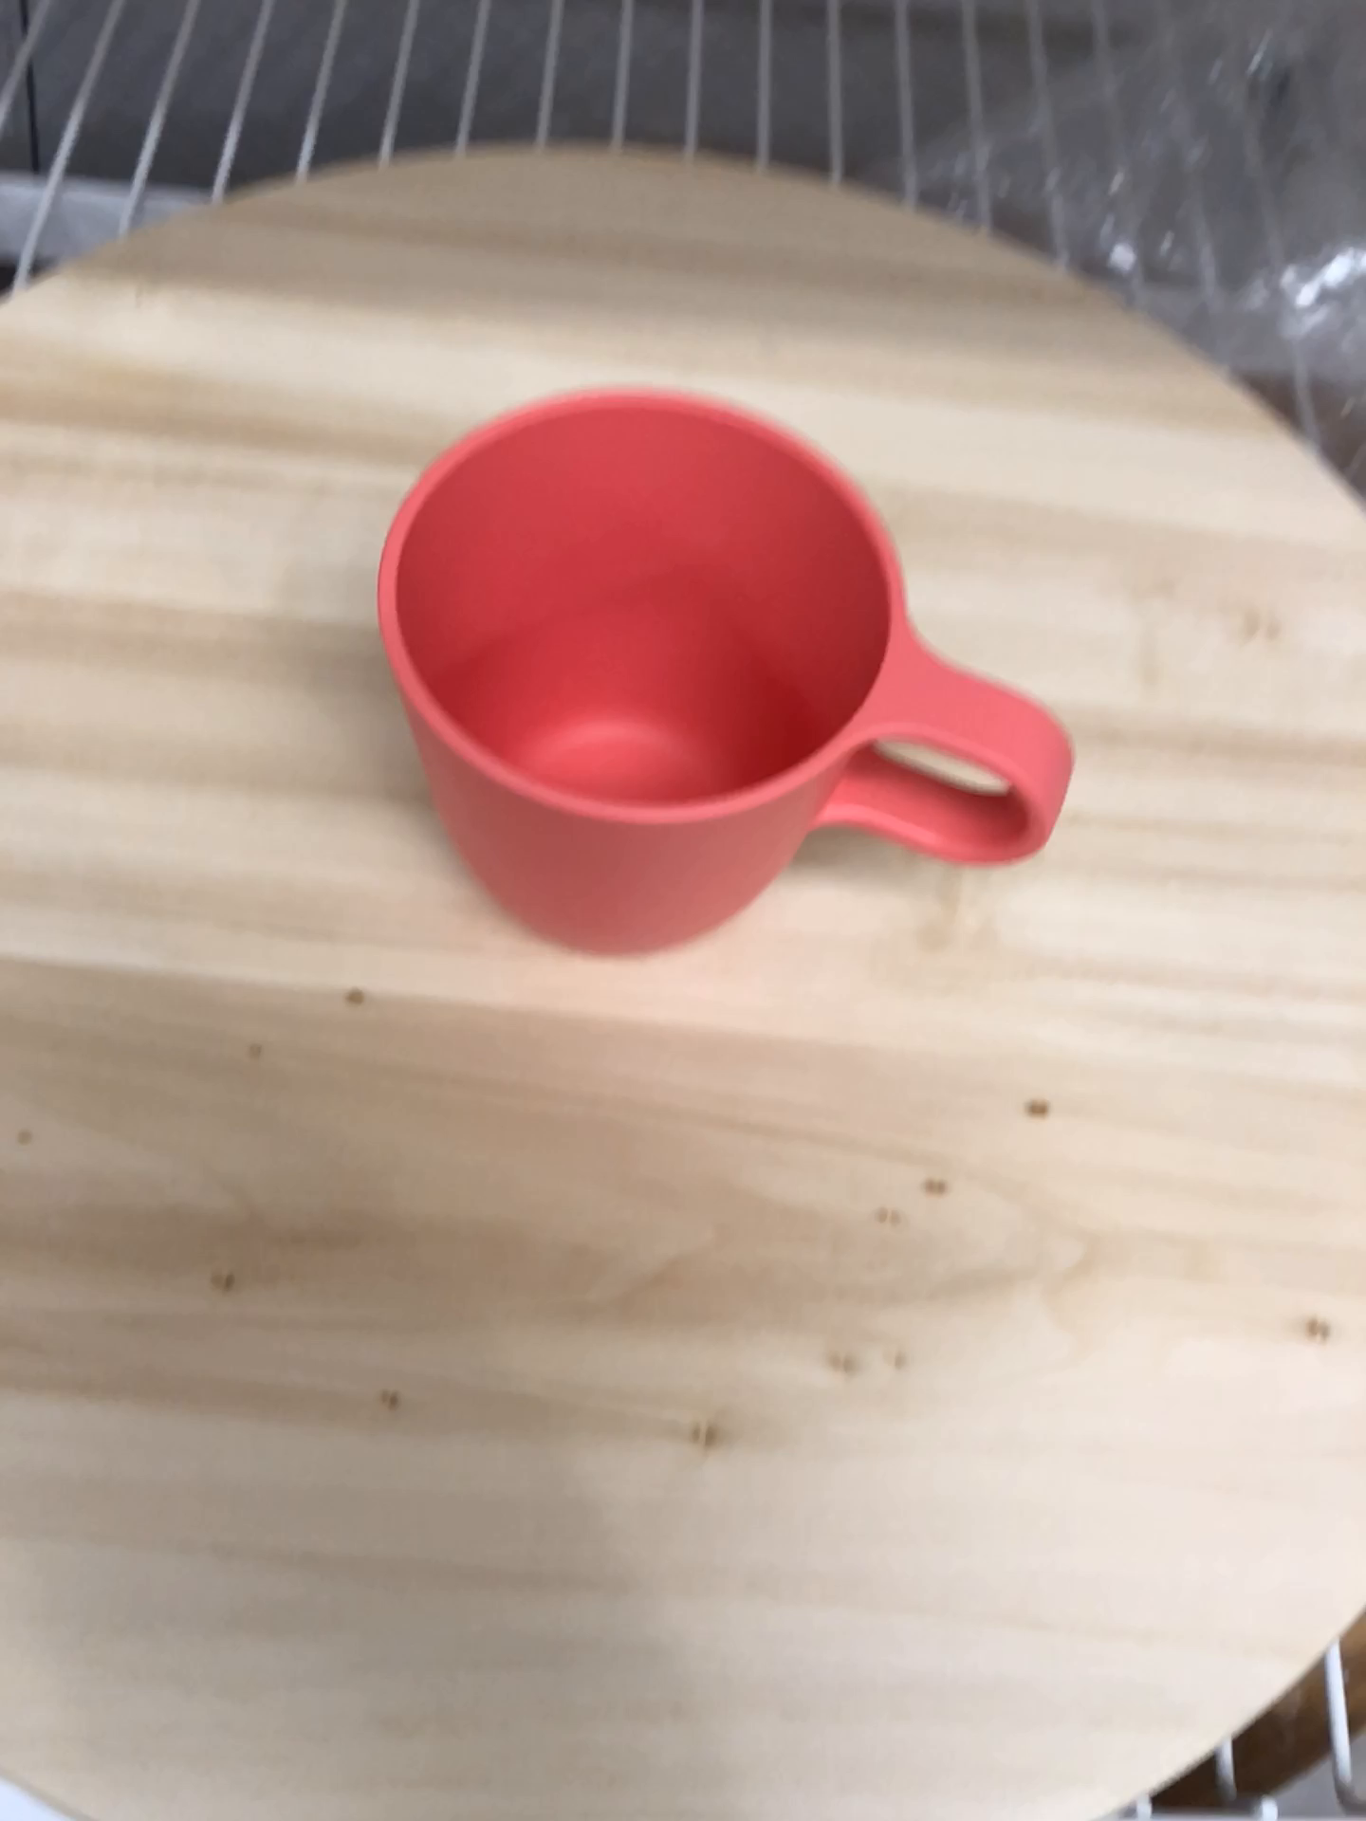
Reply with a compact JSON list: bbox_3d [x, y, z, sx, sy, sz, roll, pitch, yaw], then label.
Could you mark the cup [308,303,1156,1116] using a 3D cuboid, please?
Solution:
[{"bbox_3d":[0.008,-0.032,0.268,0.110,0.080,0.080,19,62,5],"label":"cup"}]
